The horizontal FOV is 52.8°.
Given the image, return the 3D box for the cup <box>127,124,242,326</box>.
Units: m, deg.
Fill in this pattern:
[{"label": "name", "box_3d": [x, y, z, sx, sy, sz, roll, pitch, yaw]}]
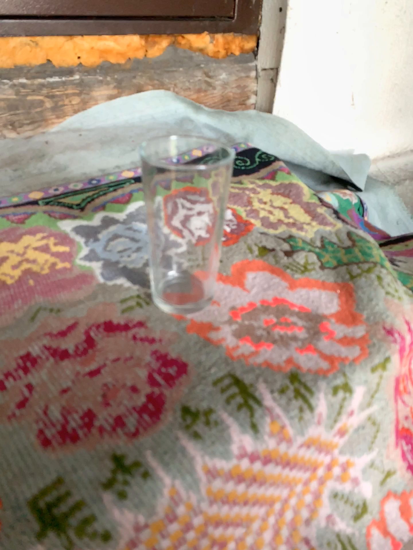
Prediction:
[{"label": "cup", "box_3d": [-0.019, -0.033, 0.285, 0.060, 0.119, 0.061, 2, 35, -2]}]
